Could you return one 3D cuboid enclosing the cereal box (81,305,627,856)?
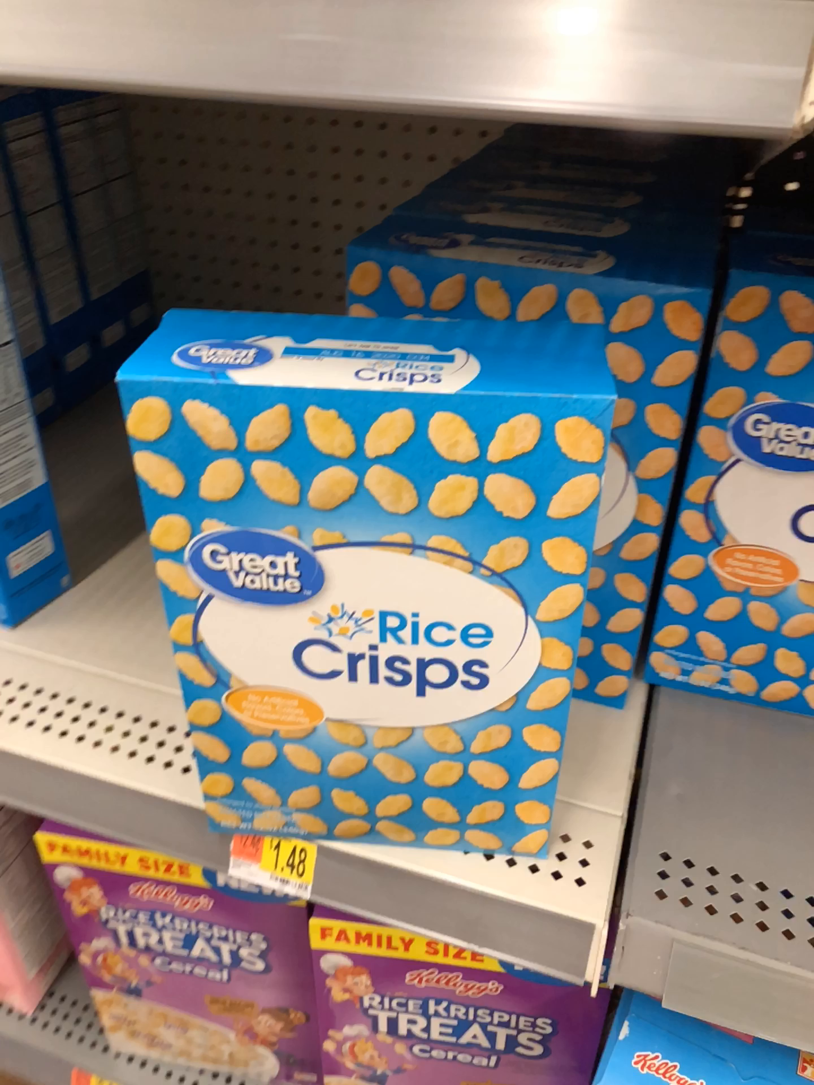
[{"bbox_3d":[-0.017,0.031,0.434,0.200,0.269,0.070,3,36,5],"label":"cereal box"}]
